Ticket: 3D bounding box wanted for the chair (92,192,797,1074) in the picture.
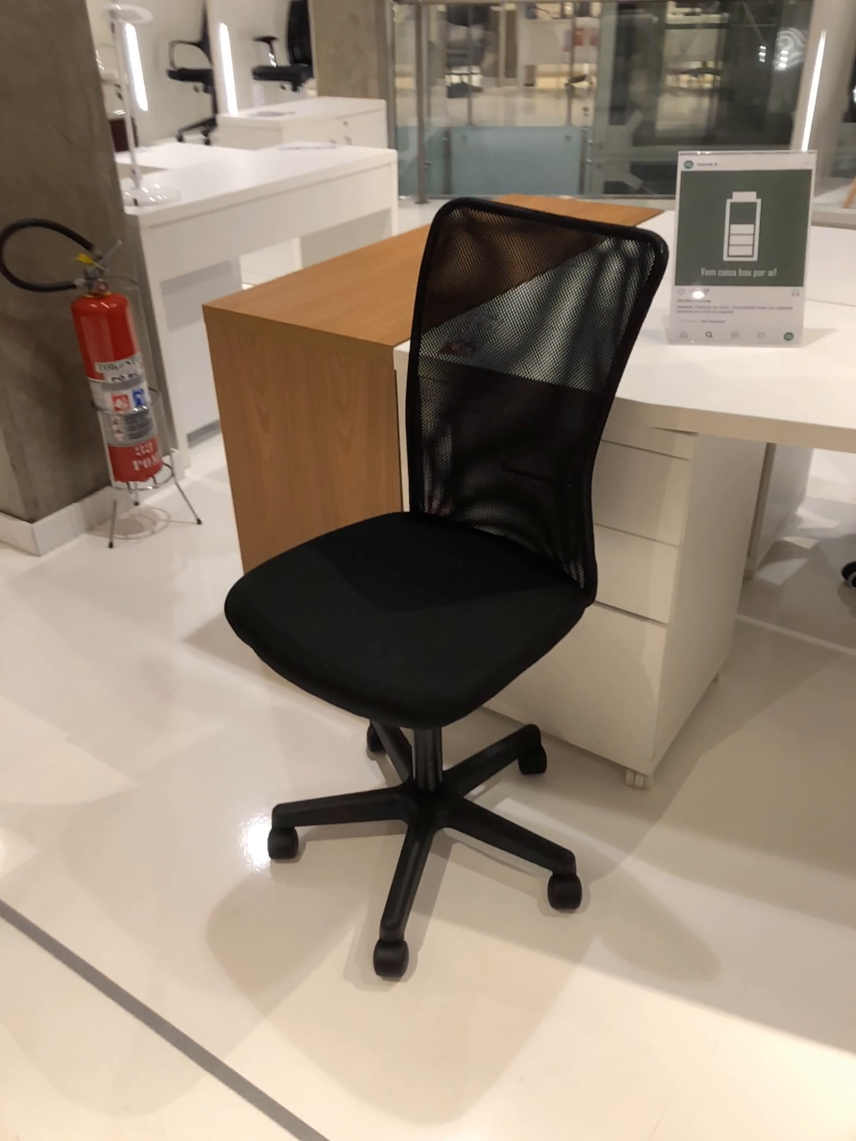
[{"bbox_3d":[0.033,0.040,1.302,0.562,0.922,0.573,26,41,36],"label":"chair"}]
